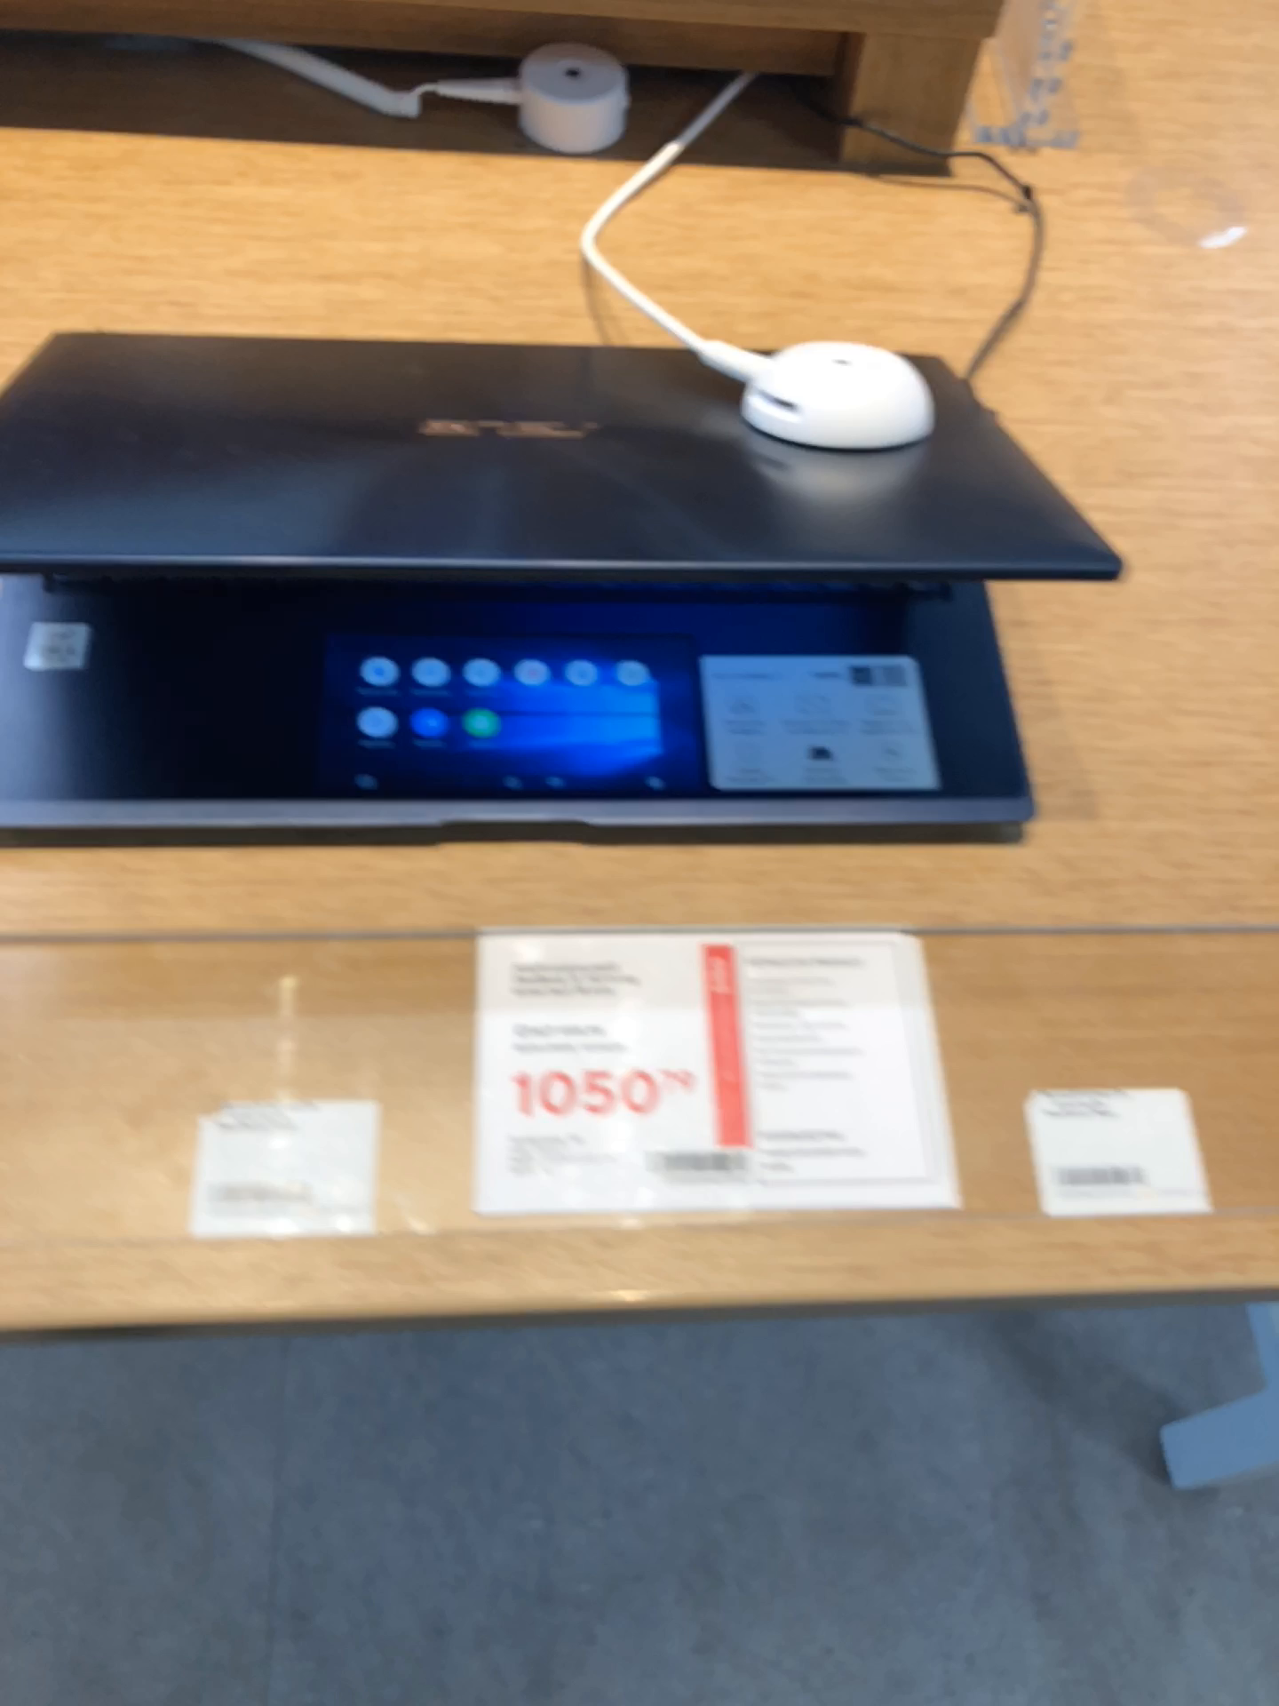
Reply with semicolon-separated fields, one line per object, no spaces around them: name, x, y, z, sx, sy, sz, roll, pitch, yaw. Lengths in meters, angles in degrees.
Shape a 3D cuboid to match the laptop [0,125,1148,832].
laptop;-0.043;-0.123;0.468;0.352;0.098;0.209;0;59;-6
